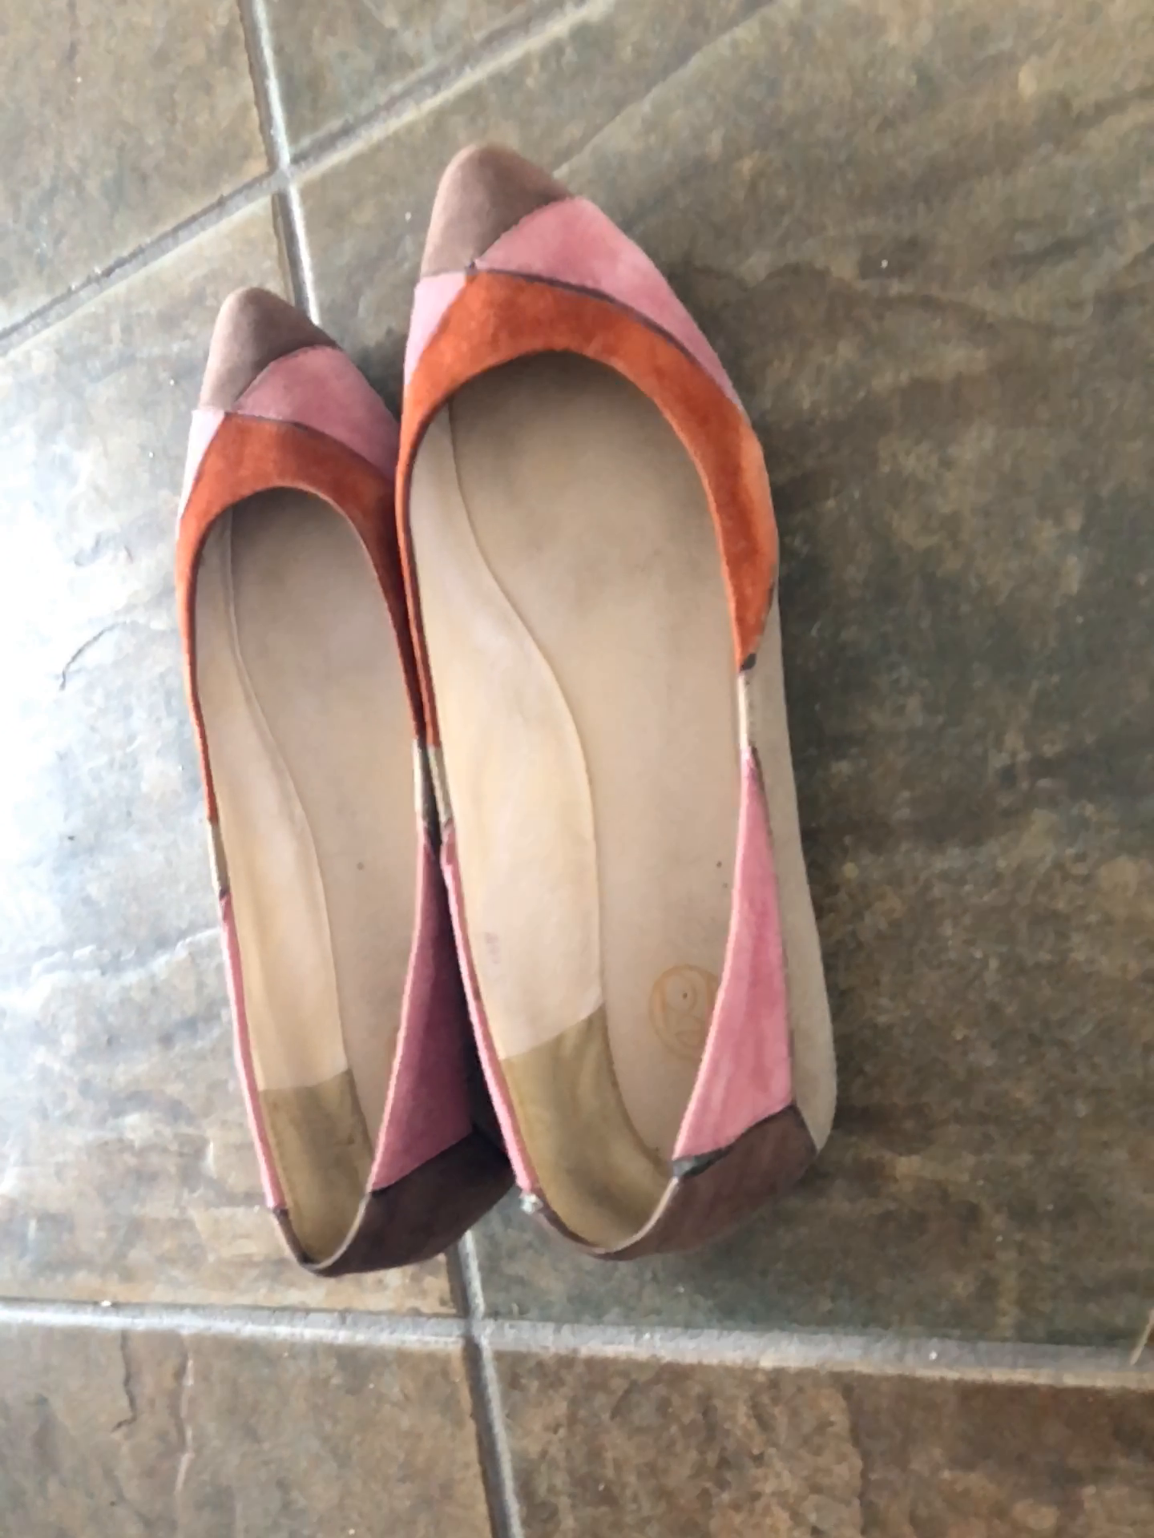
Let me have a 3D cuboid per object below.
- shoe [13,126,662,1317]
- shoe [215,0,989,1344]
[{"bbox_3d":[-0.065,-0.008,0.329,0.090,0.070,0.270,-17,83,31],"label":"shoe"},{"bbox_3d":[0.003,-0.026,0.275,0.090,0.070,0.270,-16,84,31],"label":"shoe"}]
